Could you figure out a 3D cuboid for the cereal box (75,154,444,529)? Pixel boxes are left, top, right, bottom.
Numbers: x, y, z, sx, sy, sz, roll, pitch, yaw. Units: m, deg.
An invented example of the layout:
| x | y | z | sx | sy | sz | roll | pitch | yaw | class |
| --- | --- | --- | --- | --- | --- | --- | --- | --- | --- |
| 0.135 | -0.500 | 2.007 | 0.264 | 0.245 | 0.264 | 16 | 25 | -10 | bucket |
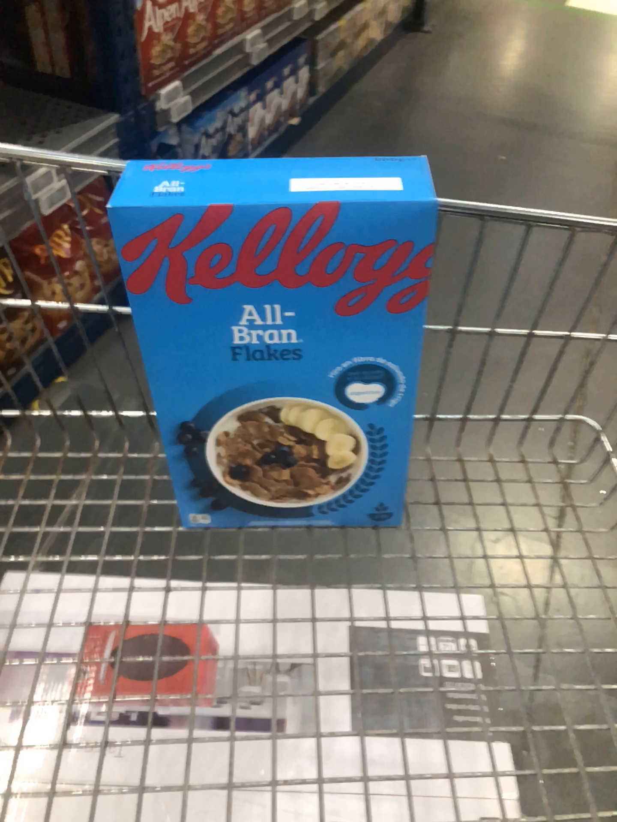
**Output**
| x | y | z | sx | sy | sz | roll | pitch | yaw | class |
| --- | --- | --- | --- | --- | --- | --- | --- | --- | --- |
| -0.028 | -0.035 | 0.491 | 0.200 | 0.269 | 0.080 | -1 | 42 | -2 | cereal box |
